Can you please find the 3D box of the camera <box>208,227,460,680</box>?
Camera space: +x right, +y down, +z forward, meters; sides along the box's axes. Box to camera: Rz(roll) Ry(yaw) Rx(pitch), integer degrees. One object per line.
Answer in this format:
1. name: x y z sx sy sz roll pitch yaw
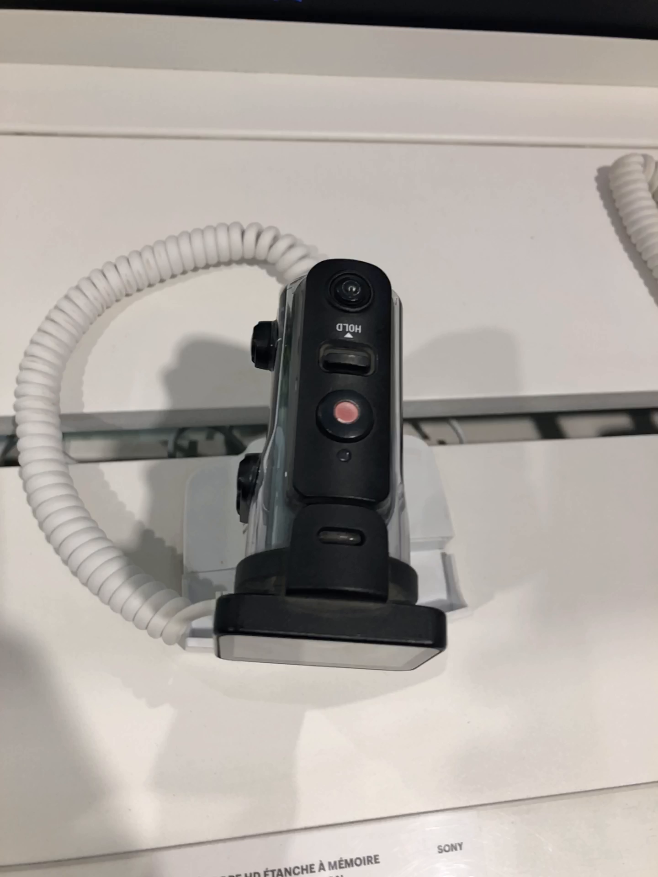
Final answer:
1. camera: -0.001 0.008 0.173 0.045 0.064 0.087 4 75 -6
